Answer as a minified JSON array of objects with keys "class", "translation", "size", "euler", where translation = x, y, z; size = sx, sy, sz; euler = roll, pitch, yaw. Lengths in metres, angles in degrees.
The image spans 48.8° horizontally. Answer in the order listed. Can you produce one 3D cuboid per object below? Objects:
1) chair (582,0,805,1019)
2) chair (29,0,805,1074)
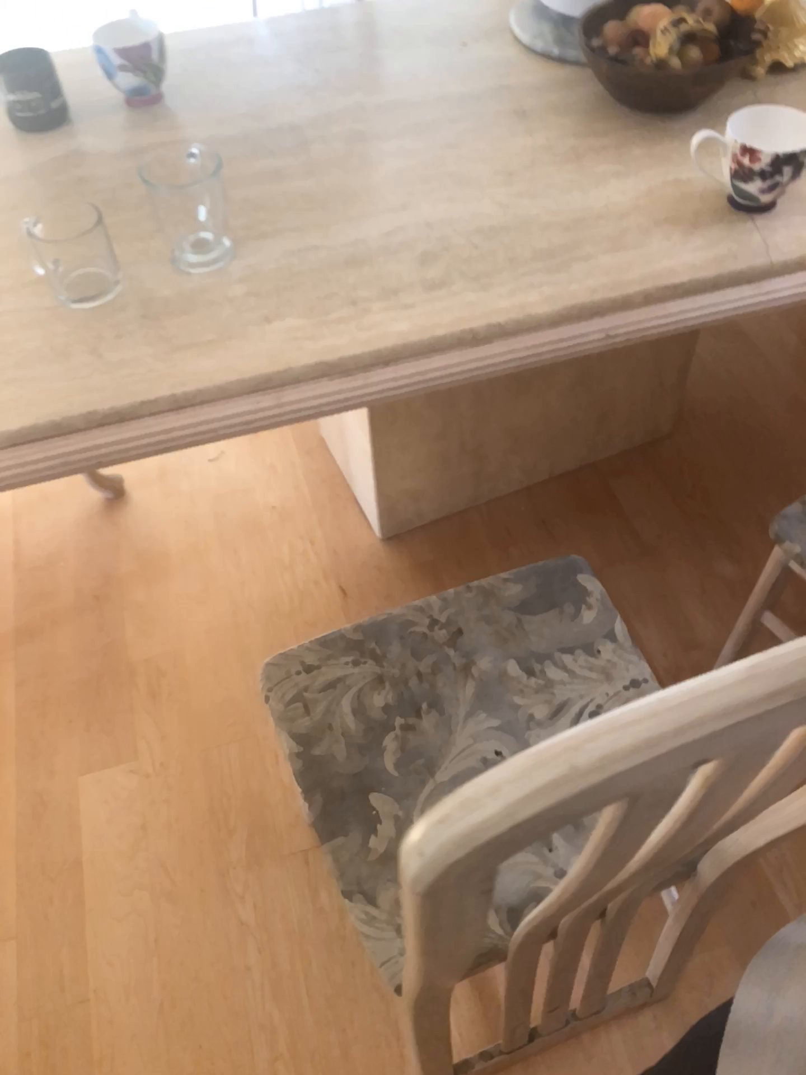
[{"class":"chair","translation":[0.630,0.061,1.082],"size":[0.481,1.141,0.563],"euler":[-21,52,-13]},{"class":"chair","translation":[0.093,0.150,0.923],"size":[0.481,1.141,0.564],"euler":[-17,54,-10]}]
